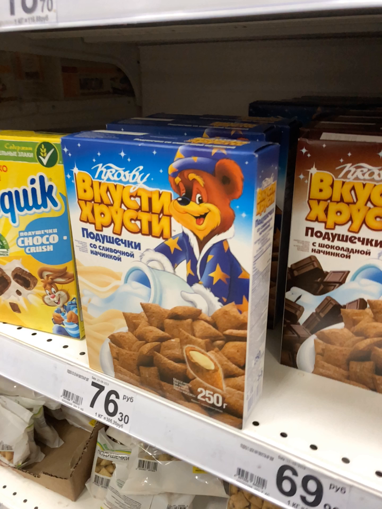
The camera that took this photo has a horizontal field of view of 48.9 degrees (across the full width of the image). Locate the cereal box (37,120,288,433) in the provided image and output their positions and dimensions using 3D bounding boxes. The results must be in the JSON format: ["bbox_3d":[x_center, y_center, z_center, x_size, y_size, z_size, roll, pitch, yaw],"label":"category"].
[{"bbox_3d":[-0.028,0.012,0.358,0.190,0.229,0.050,12,26,27],"label":"cereal box"}]
